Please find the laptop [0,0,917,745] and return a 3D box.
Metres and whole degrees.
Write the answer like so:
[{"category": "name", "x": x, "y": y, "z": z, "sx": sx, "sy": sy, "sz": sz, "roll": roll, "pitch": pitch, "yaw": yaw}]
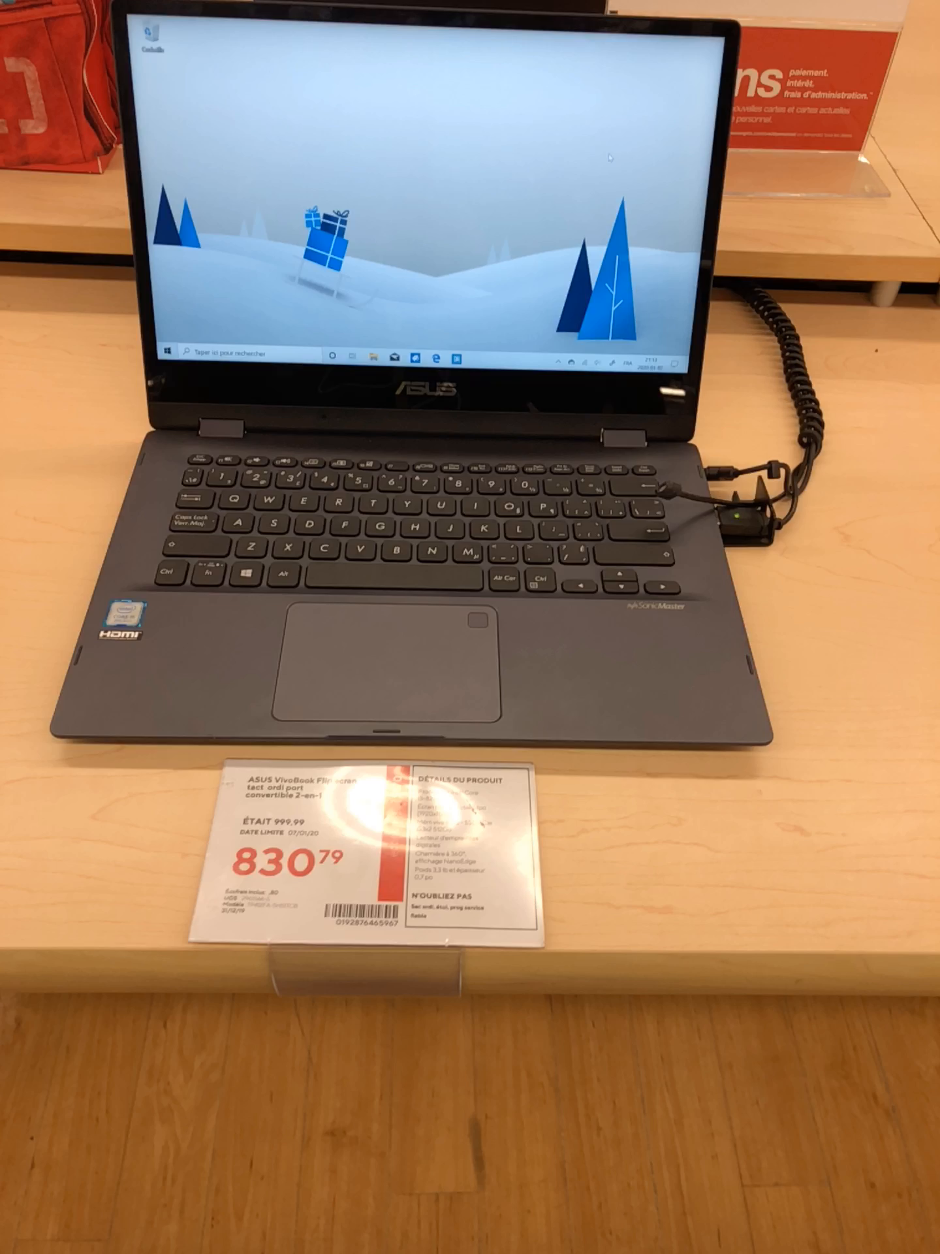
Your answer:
[{"category": "laptop", "x": -0.022, "y": -0.132, "z": 0.492, "sx": 0.312, "sy": 0.188, "sz": 0.314, "roll": 1, "pitch": 48, "yaw": -2}]
